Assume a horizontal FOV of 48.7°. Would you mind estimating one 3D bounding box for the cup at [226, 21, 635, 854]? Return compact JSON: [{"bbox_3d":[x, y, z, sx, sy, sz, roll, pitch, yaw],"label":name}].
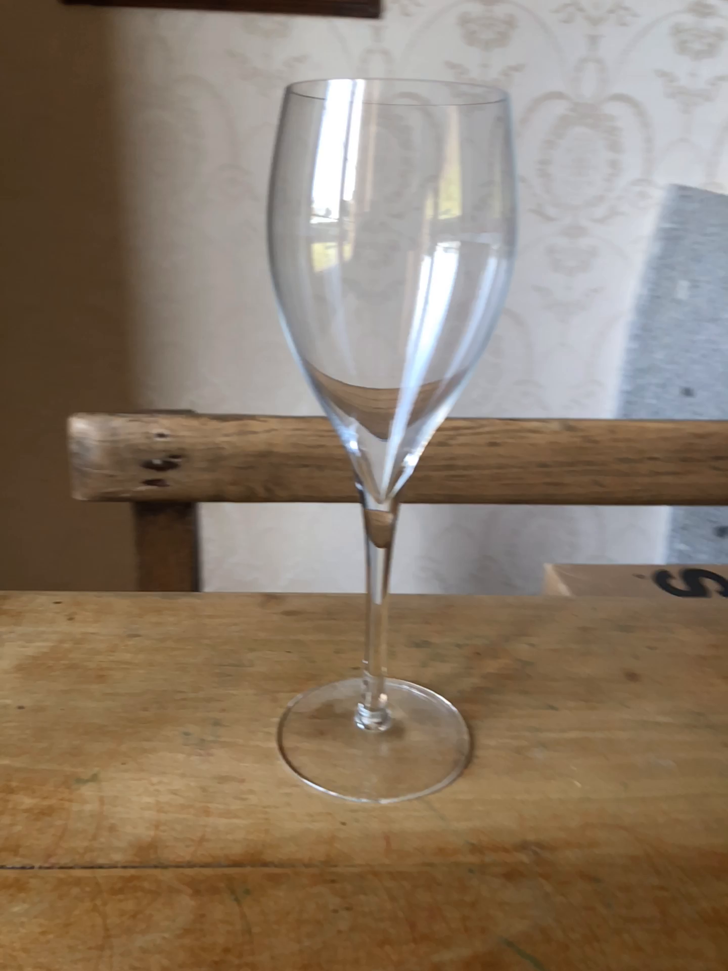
[{"bbox_3d":[0.011,-0.011,0.246,0.080,0.209,0.080,1,18,0],"label":"cup"}]
